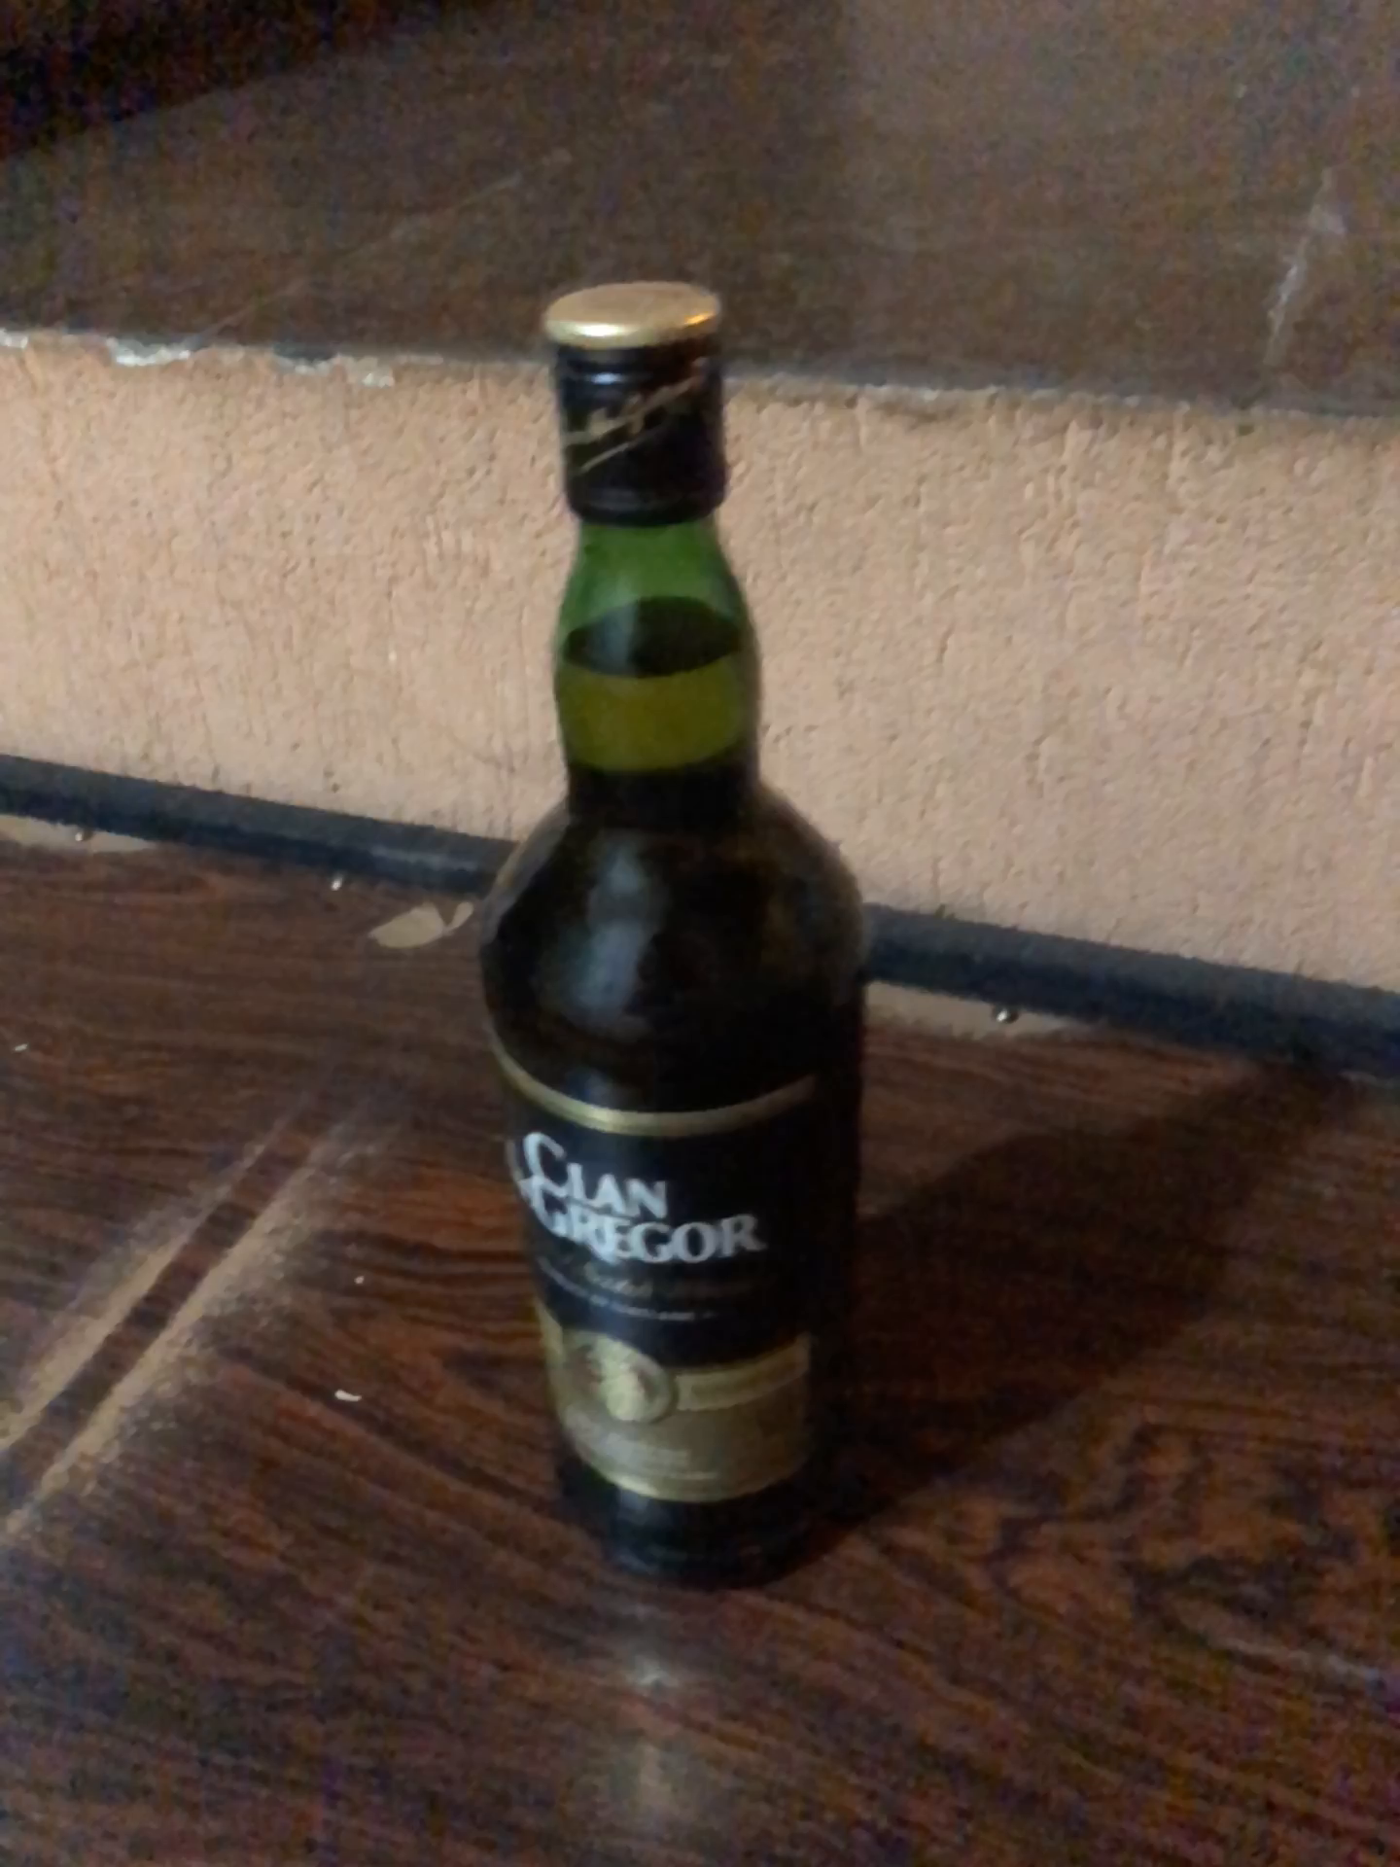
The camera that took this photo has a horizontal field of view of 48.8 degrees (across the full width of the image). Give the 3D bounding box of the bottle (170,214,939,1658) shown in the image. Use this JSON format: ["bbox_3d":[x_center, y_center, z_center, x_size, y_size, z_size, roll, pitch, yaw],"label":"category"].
[{"bbox_3d":[-0.009,0.023,0.332,0.090,0.308,0.081,16,42,25],"label":"bottle"}]
